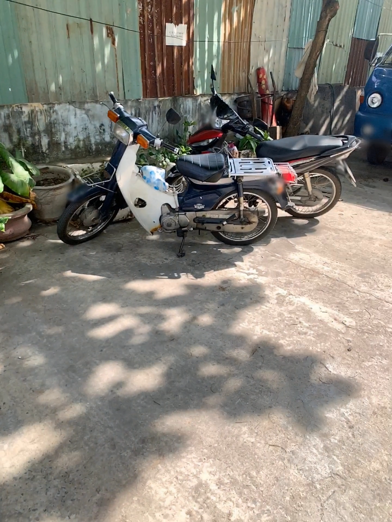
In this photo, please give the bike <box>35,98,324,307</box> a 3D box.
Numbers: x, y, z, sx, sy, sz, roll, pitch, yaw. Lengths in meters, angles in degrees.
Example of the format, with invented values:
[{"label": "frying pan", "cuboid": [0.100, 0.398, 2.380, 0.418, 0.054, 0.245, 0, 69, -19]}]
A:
[{"label": "bike", "cuboid": [-0.126, -0.416, 2.524, 1.475, 1.024, 0.656, -5, 28, -10]}]
